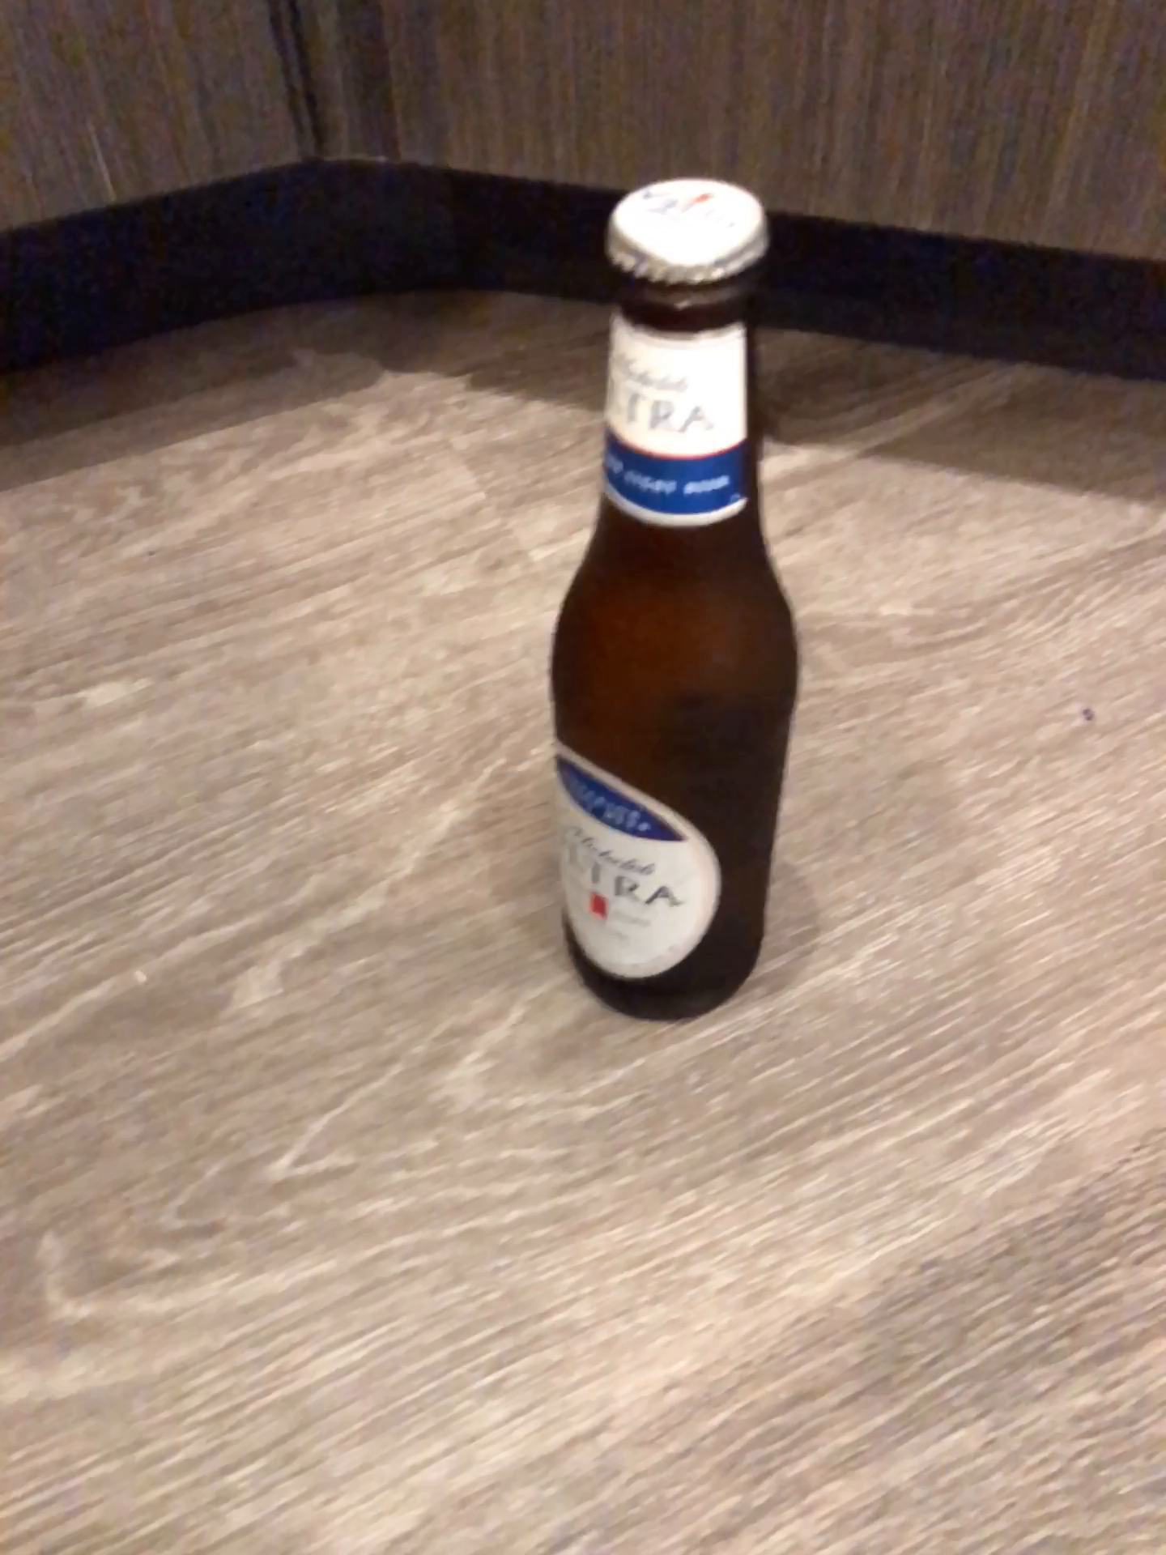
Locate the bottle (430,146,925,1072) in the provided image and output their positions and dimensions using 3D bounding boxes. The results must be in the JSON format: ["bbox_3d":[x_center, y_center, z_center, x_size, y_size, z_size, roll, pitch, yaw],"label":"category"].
[{"bbox_3d":[0.019,-0.021,0.301,0.060,0.209,0.060,-1,48,1],"label":"bottle"}]
